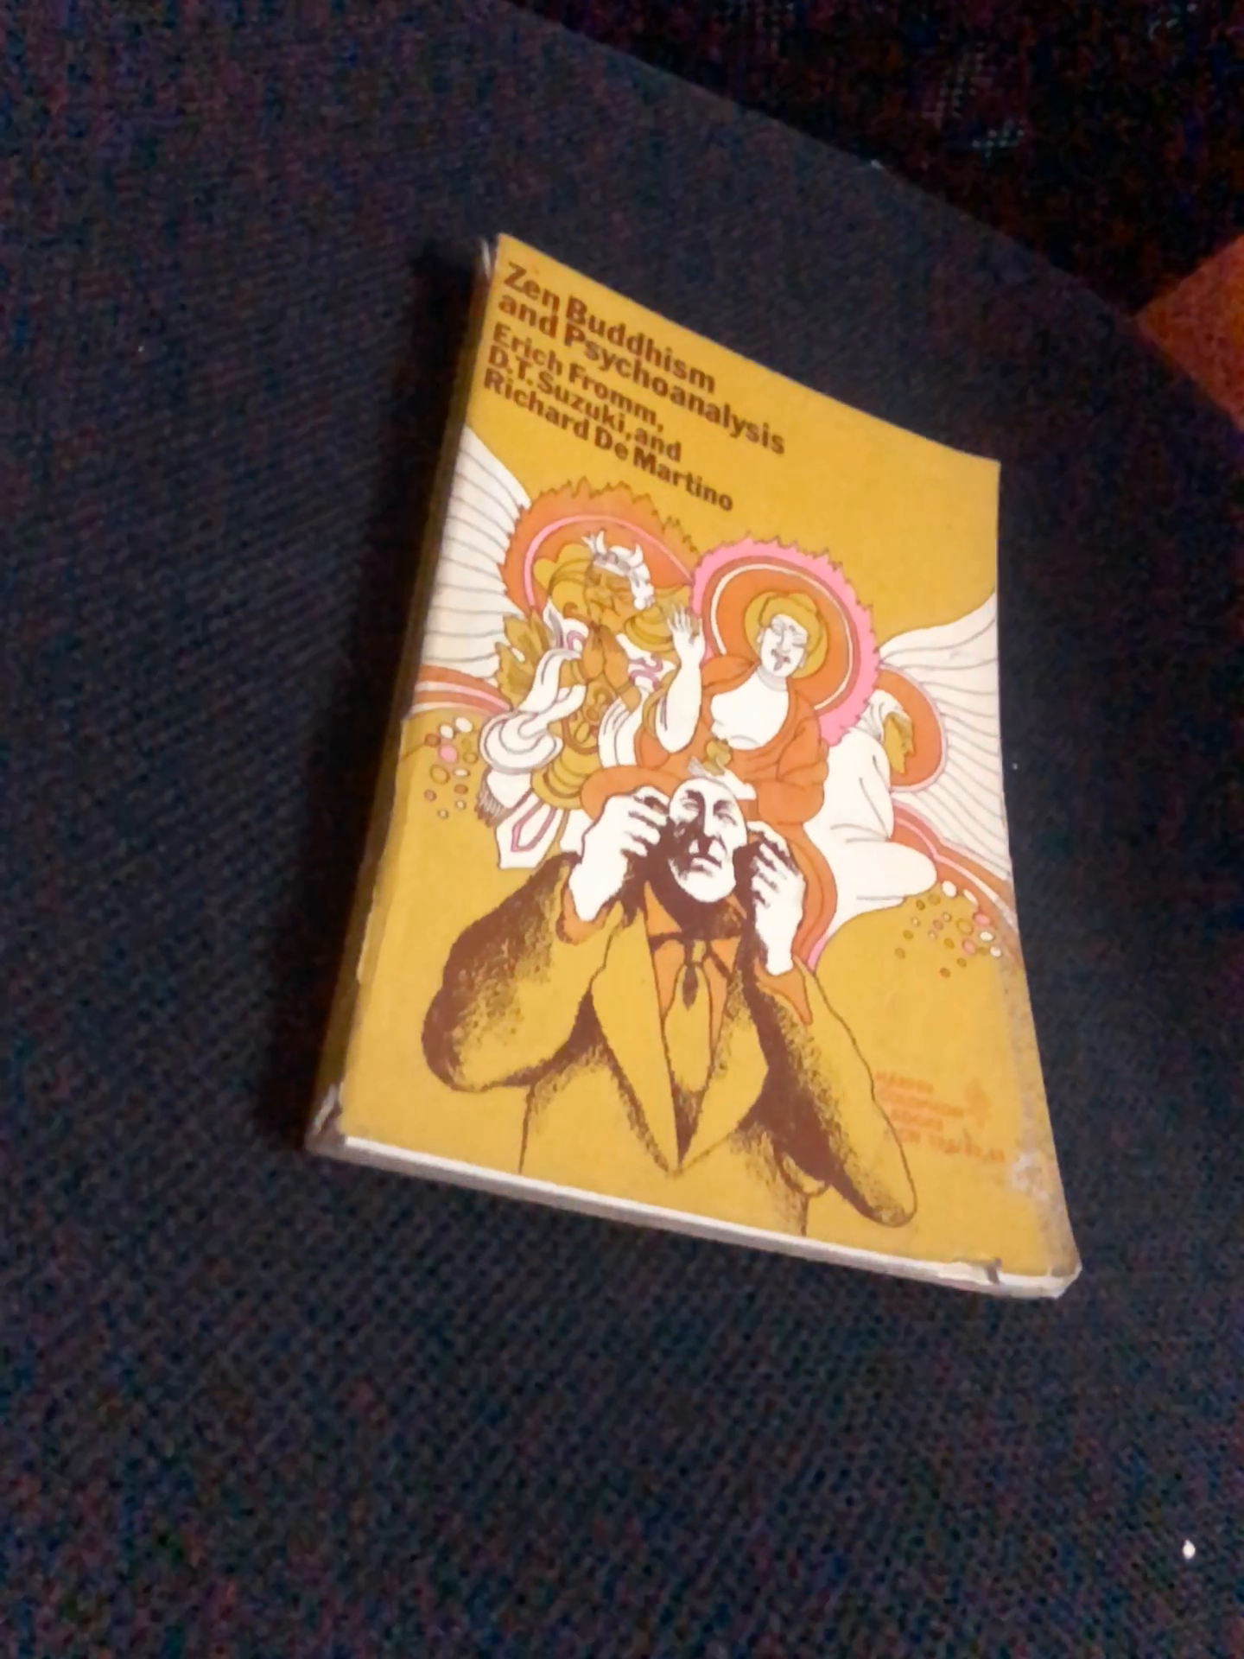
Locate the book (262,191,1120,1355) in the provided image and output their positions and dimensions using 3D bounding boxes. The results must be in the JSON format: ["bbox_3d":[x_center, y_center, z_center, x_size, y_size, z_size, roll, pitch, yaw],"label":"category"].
[{"bbox_3d":[0.019,-0.016,0.256,0.137,0.020,0.200,15,58,-23],"label":"book"}]
